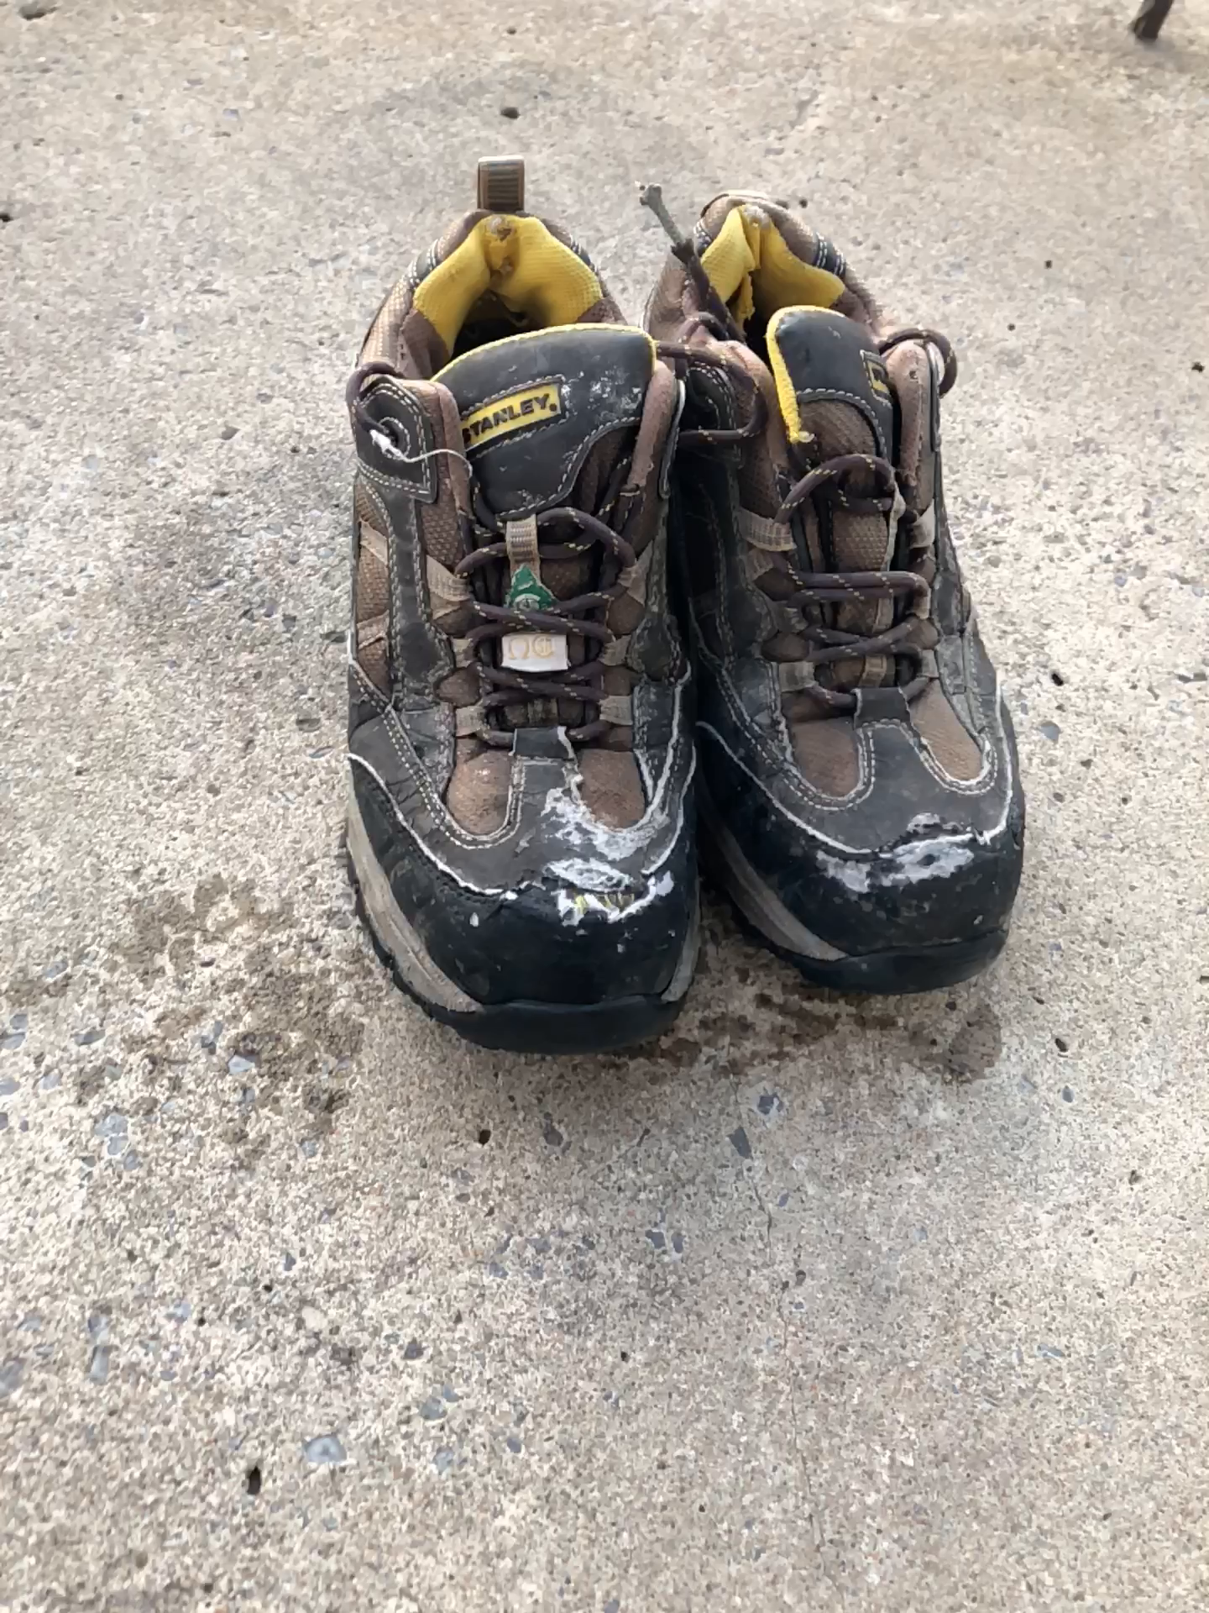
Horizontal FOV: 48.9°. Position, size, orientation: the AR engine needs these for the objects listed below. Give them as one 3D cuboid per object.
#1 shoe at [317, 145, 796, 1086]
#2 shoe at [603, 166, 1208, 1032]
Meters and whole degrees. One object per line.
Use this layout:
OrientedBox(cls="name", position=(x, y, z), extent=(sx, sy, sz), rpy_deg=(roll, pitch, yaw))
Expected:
OrientedBox(cls="shoe", position=(-0.031, -0.061, 0.422), extent=(0.100, 0.149, 0.251), rpy_deg=(-3, 61, -10))
OrientedBox(cls="shoe", position=(0.084, -0.067, 0.454), extent=(0.120, 0.169, 0.231), rpy_deg=(-3, 61, -10))
